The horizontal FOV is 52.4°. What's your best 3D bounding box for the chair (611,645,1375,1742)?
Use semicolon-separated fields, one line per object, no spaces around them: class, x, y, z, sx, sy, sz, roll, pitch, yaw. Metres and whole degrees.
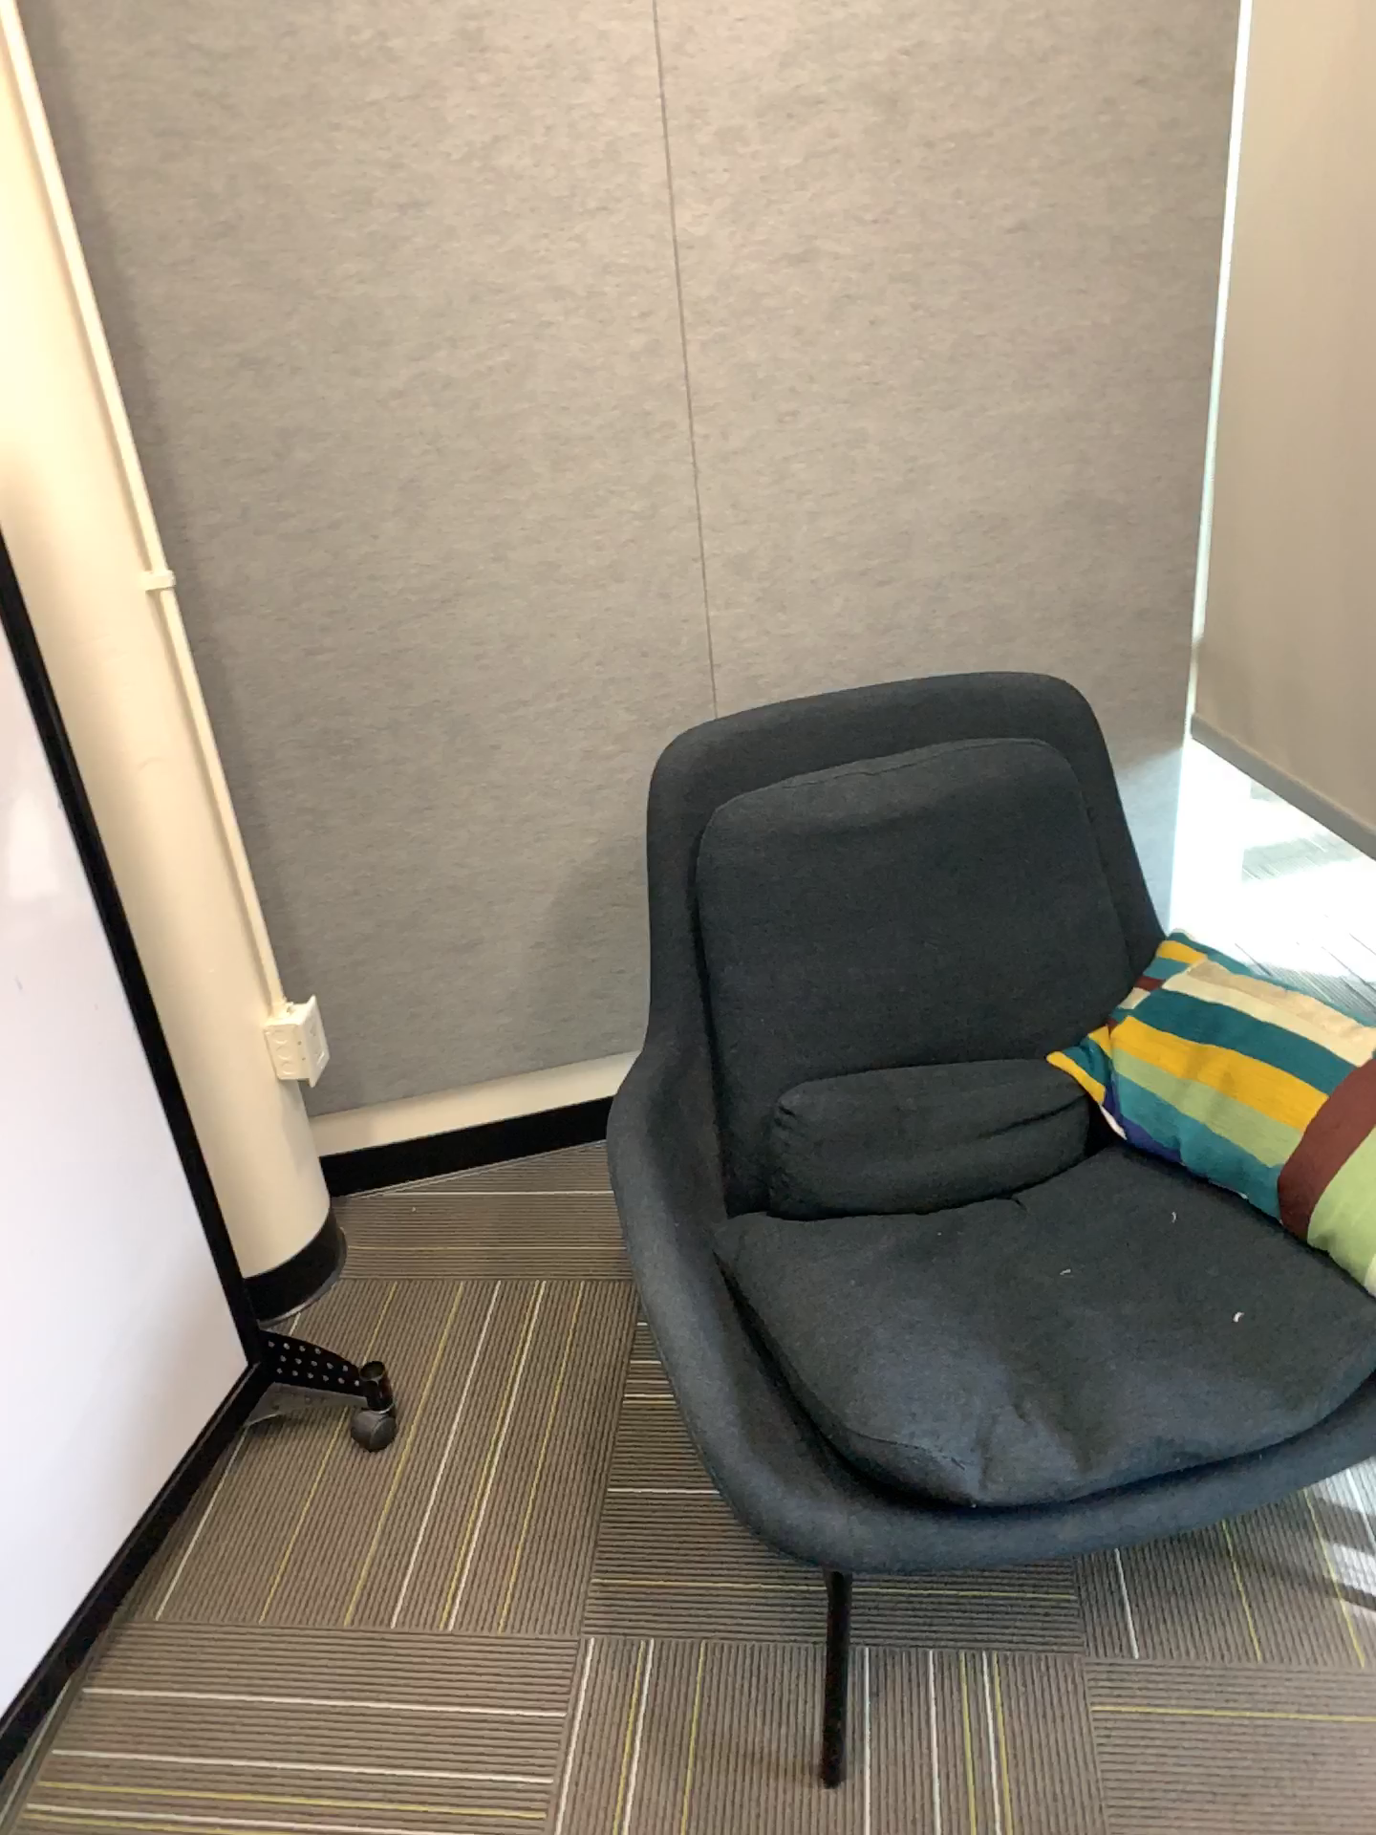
chair;0.374;0.246;1.783;0.790;0.815;1.006;-8;28;-3
